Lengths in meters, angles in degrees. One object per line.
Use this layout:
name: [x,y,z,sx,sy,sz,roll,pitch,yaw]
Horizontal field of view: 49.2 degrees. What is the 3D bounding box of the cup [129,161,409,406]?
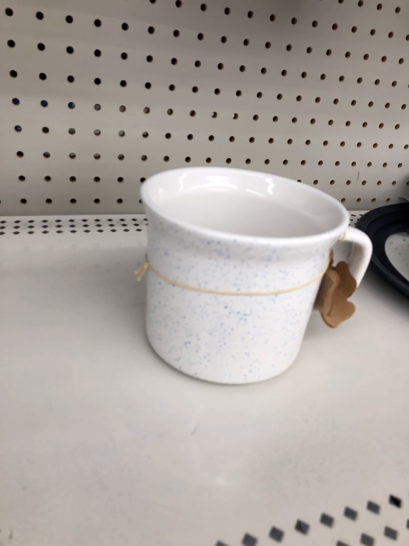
cup: [0.048,-0.007,0.265,0.159,0.090,0.102,-6,31,-23]
